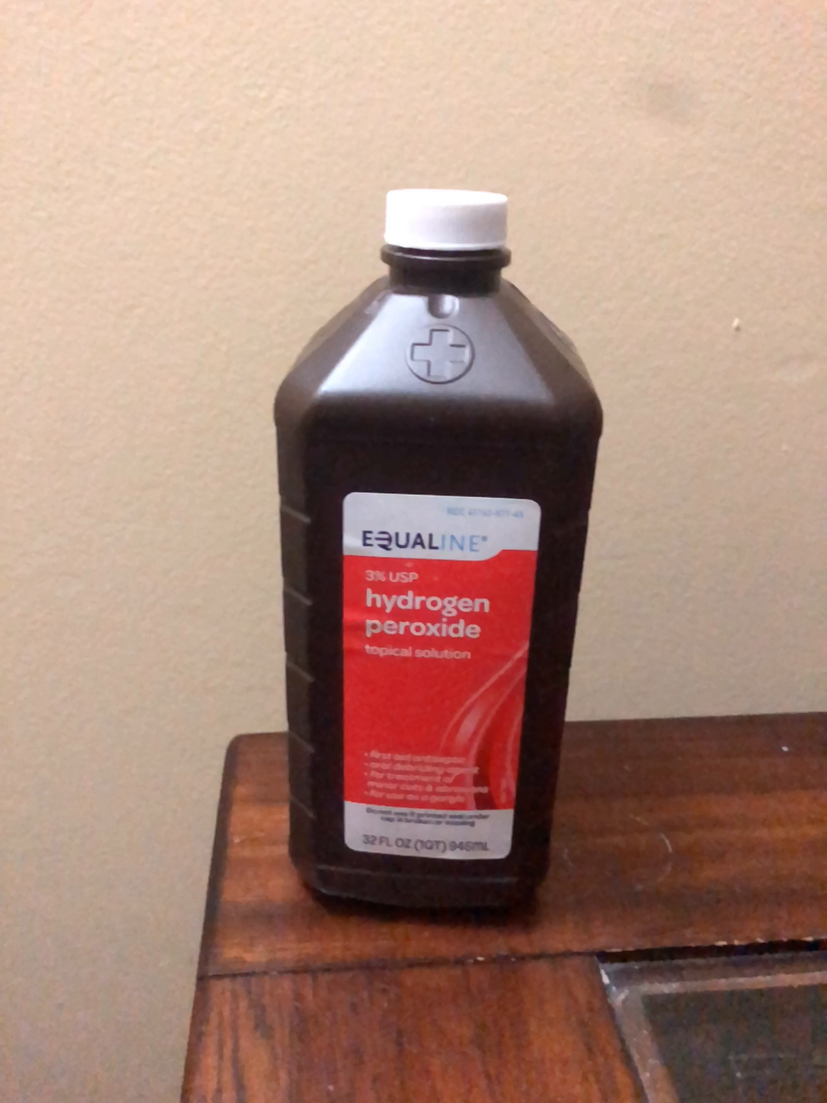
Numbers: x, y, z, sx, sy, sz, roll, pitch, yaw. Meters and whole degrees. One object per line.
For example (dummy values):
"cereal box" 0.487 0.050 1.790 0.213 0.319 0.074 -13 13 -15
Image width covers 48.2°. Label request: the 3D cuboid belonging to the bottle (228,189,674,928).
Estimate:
"bottle" 0.006 0.003 0.262 0.090 0.189 0.080 2 25 2
